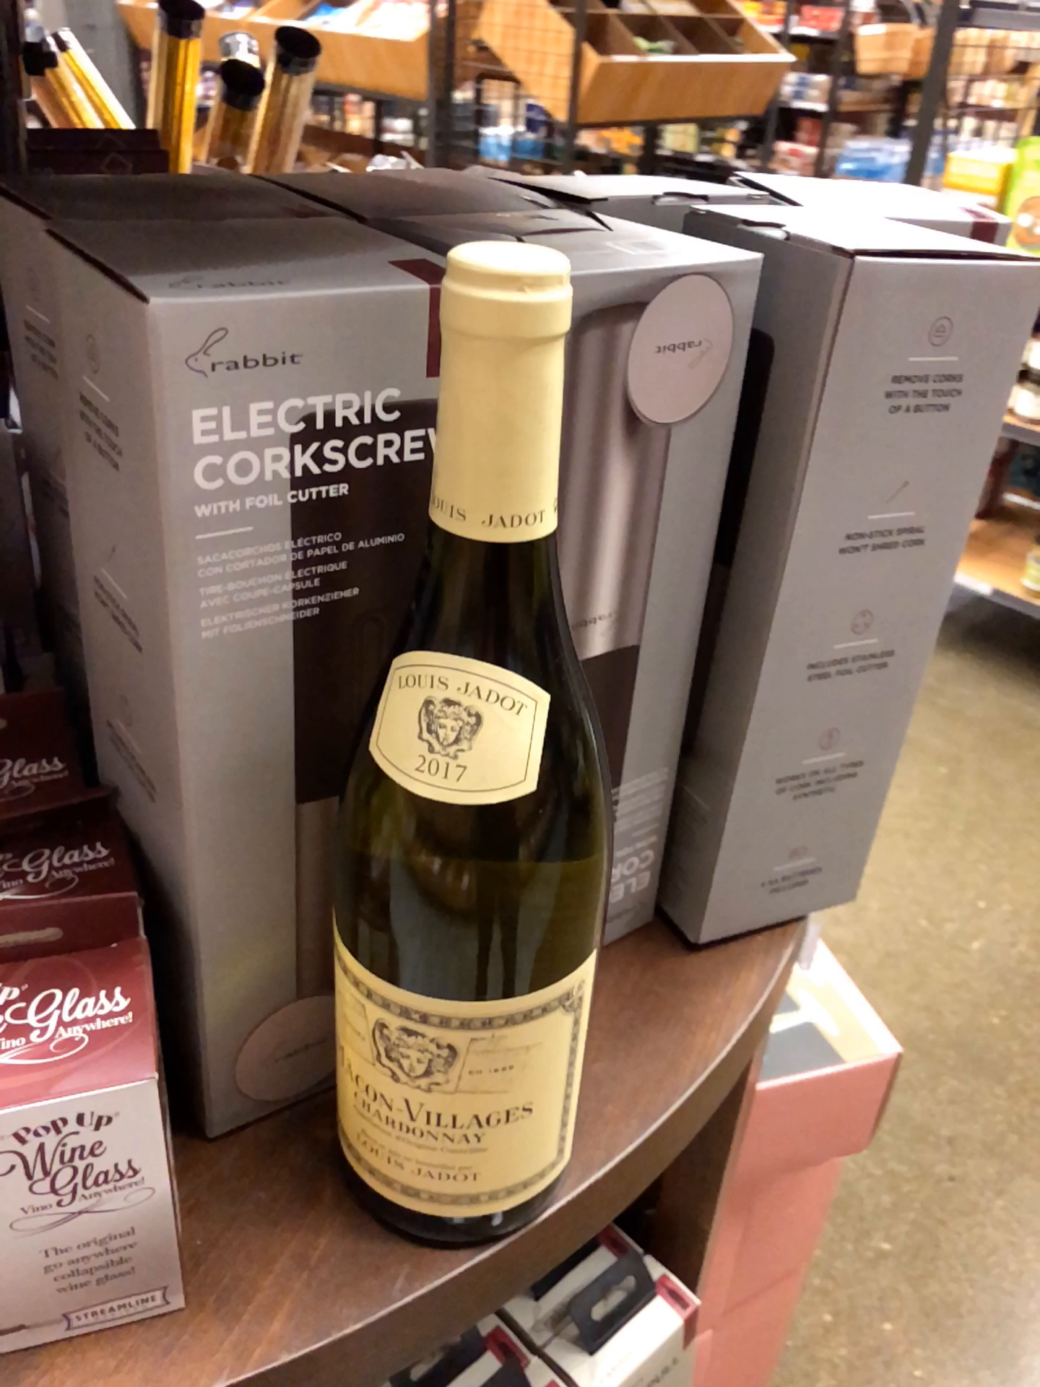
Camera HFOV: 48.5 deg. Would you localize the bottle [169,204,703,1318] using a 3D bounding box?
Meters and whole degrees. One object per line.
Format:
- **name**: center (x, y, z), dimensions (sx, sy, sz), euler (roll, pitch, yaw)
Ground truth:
- **bottle**: center (-0.020, 0.034, 0.324), dimensions (0.090, 0.299, 0.090), euler (3, 31, -2)
